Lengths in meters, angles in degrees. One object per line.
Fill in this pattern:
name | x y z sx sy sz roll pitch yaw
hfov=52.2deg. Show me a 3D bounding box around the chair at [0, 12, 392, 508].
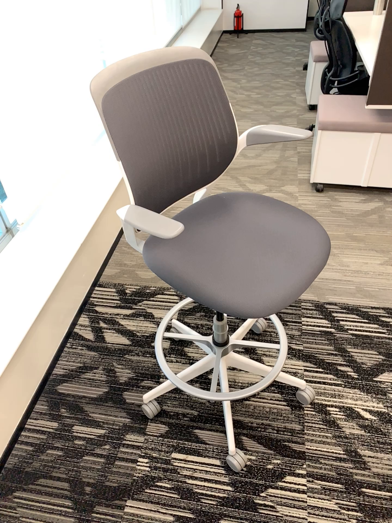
chair | 0.080 0.007 1.214 0.693 1.140 0.693 31 53 33
